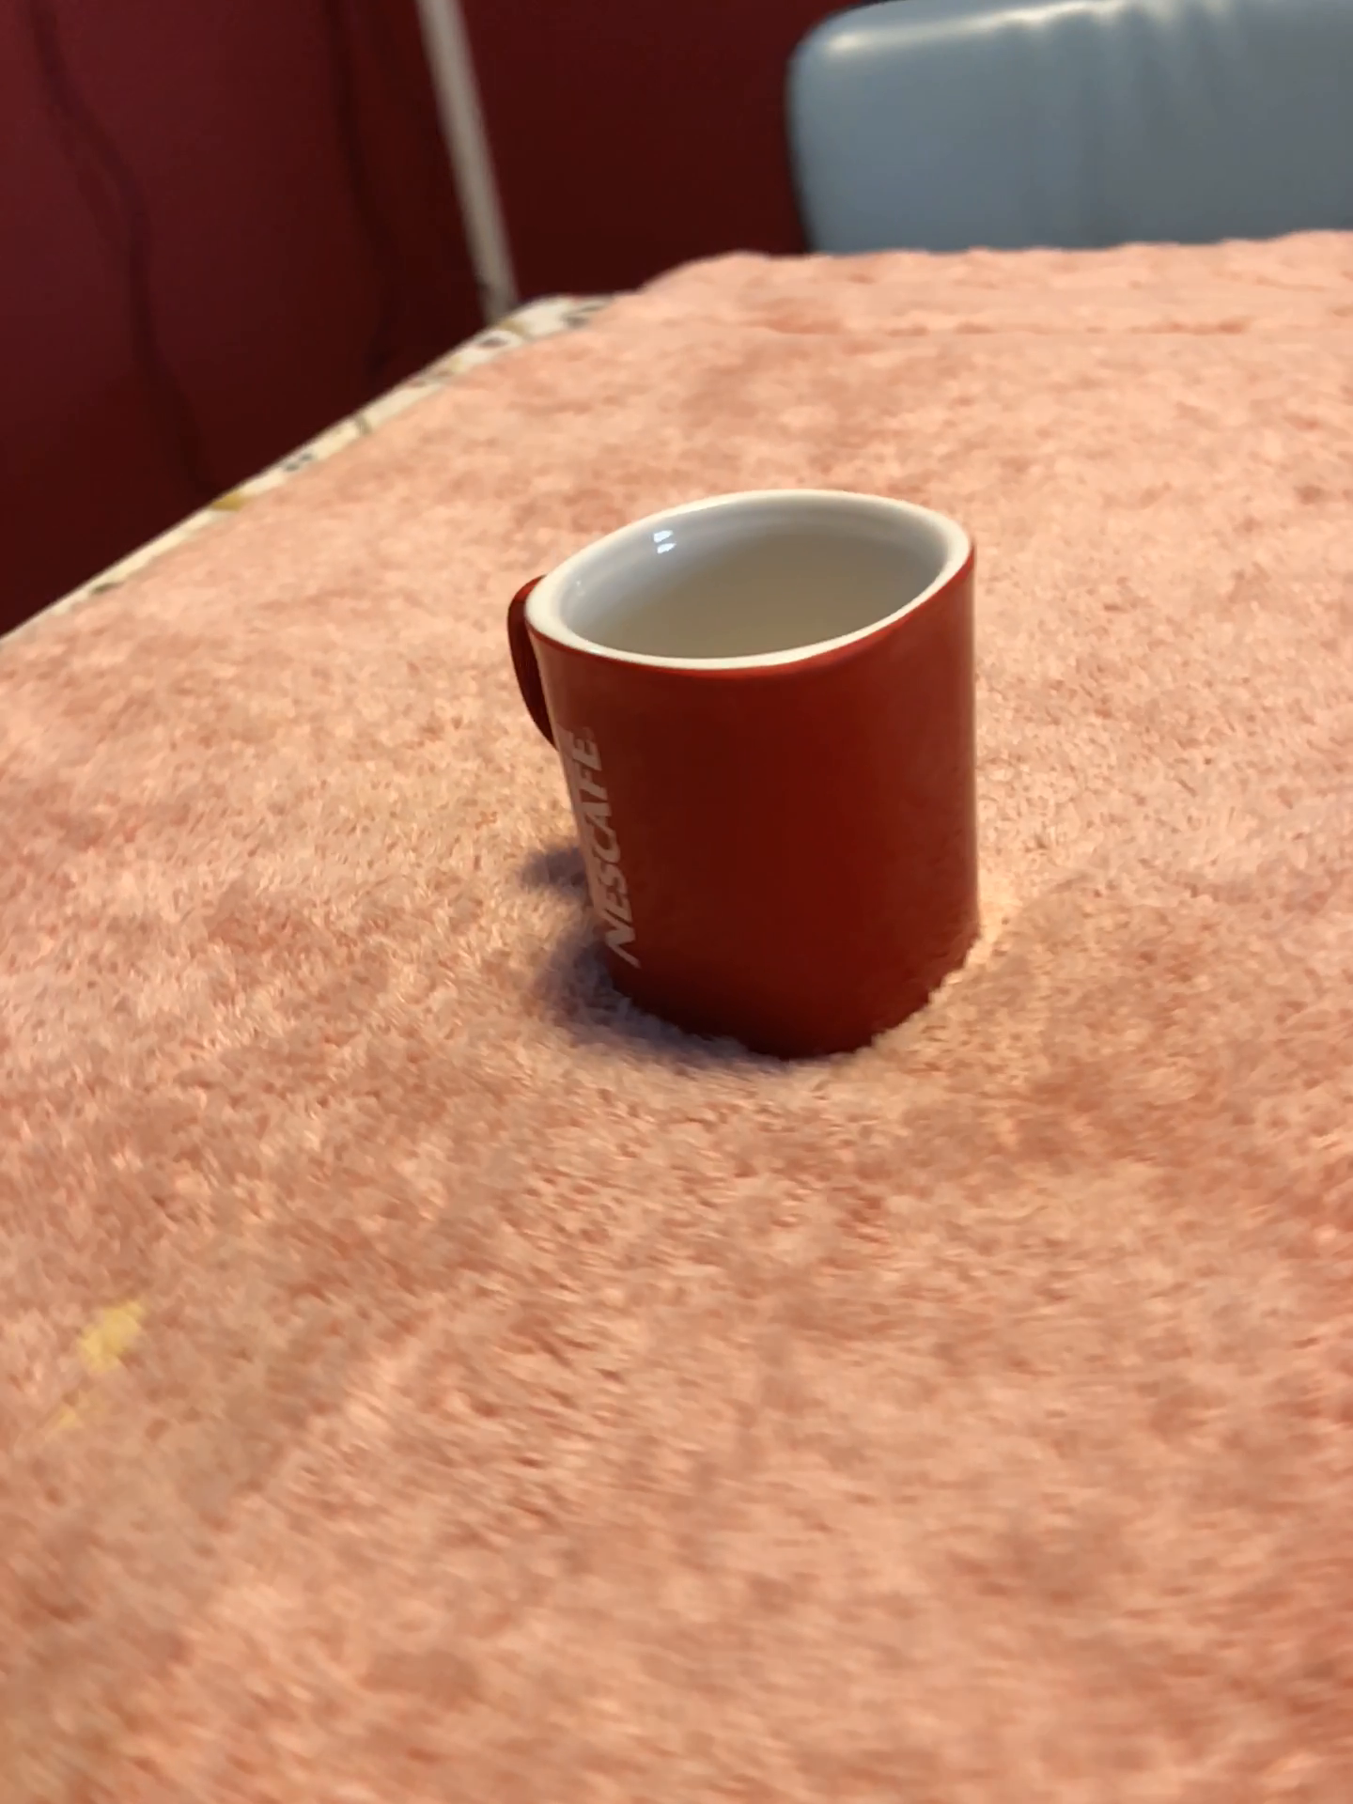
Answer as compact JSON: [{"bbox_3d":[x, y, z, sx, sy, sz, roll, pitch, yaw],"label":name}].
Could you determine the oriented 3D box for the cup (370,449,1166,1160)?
[{"bbox_3d":[0.016,-0.024,0.249,0.100,0.069,0.070,22,45,39],"label":"cup"}]
